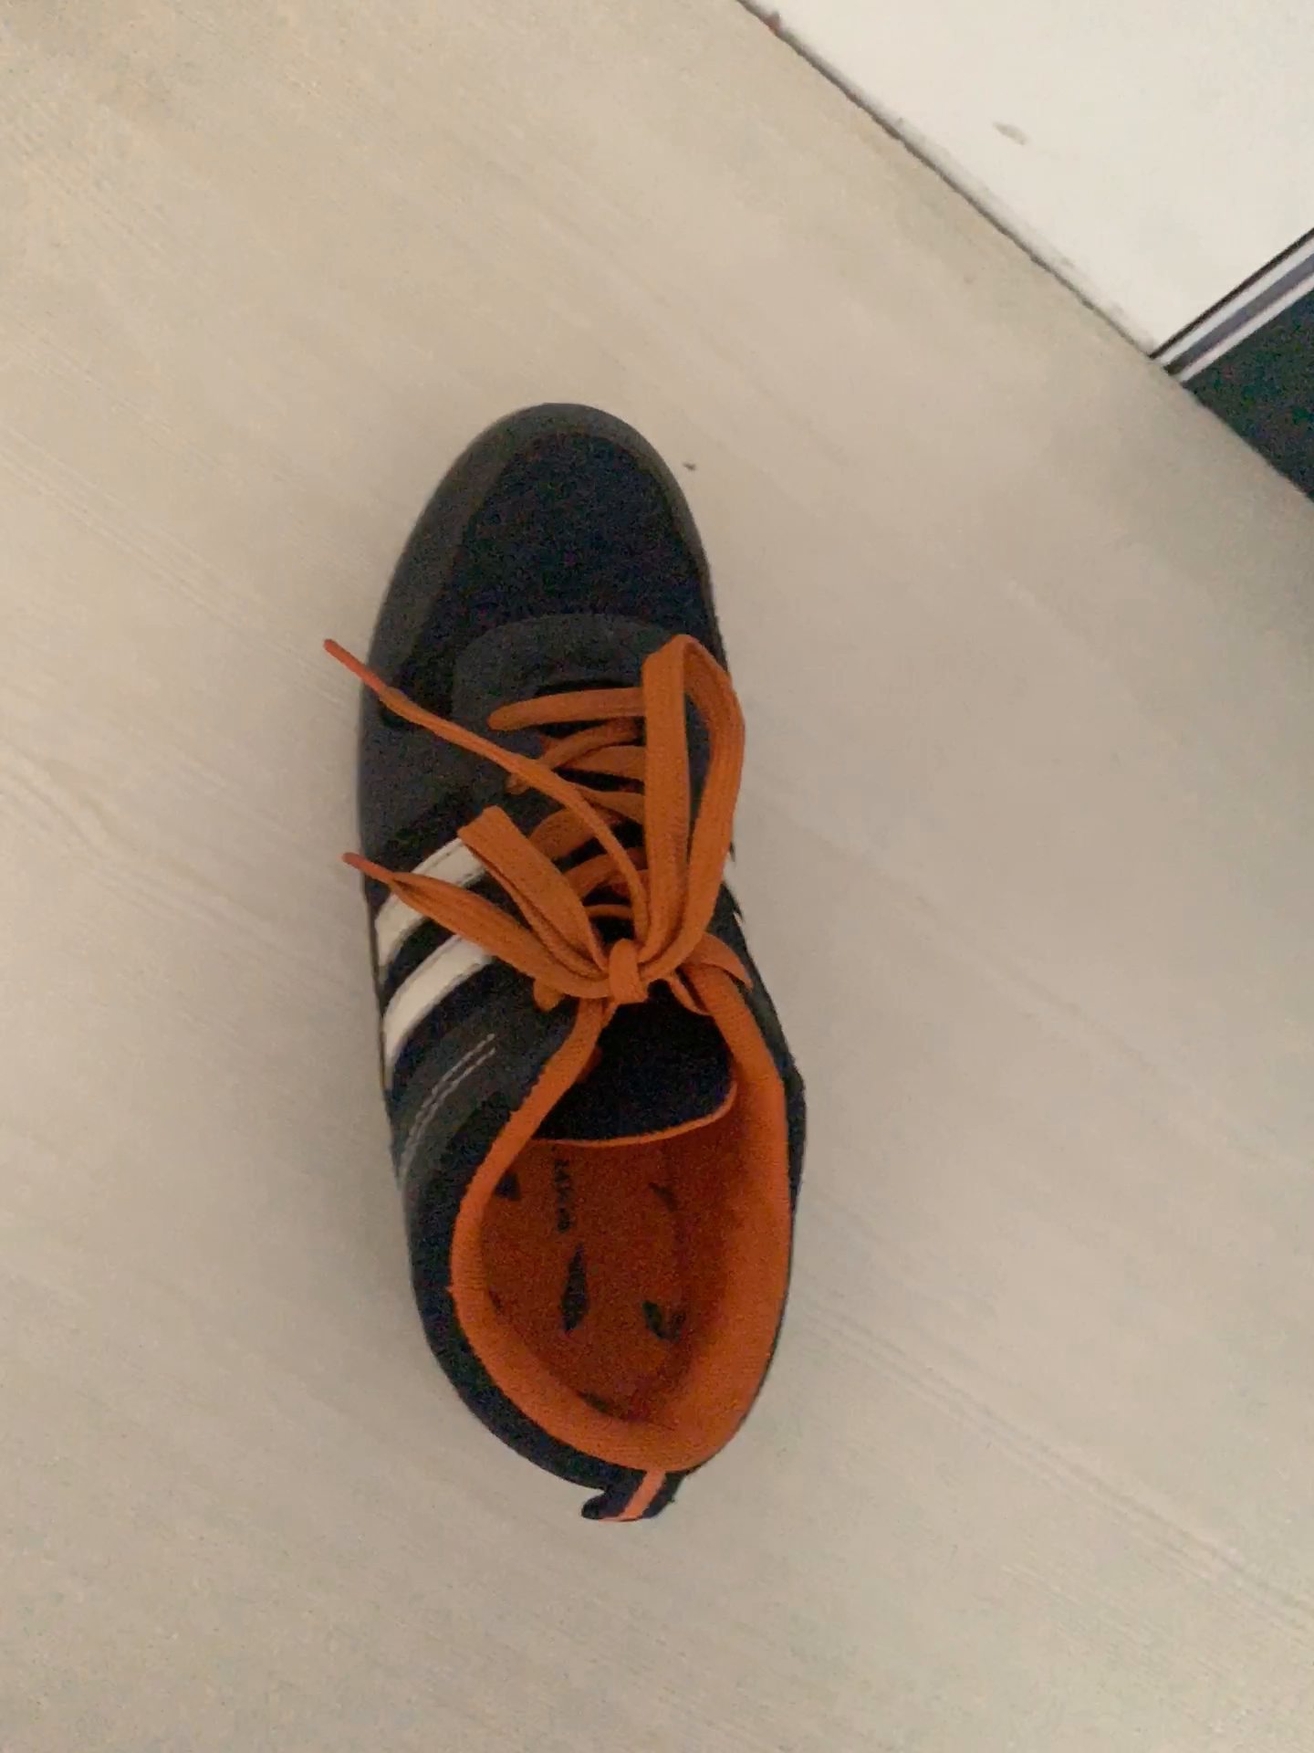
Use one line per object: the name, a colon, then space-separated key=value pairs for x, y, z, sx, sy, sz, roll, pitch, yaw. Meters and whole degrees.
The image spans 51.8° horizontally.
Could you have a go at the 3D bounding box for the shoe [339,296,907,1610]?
shoe: x=-0.016 y=0.012 z=0.310 sx=0.100 sy=0.080 sz=0.250 roll=-1 pitch=82 yaw=-17
